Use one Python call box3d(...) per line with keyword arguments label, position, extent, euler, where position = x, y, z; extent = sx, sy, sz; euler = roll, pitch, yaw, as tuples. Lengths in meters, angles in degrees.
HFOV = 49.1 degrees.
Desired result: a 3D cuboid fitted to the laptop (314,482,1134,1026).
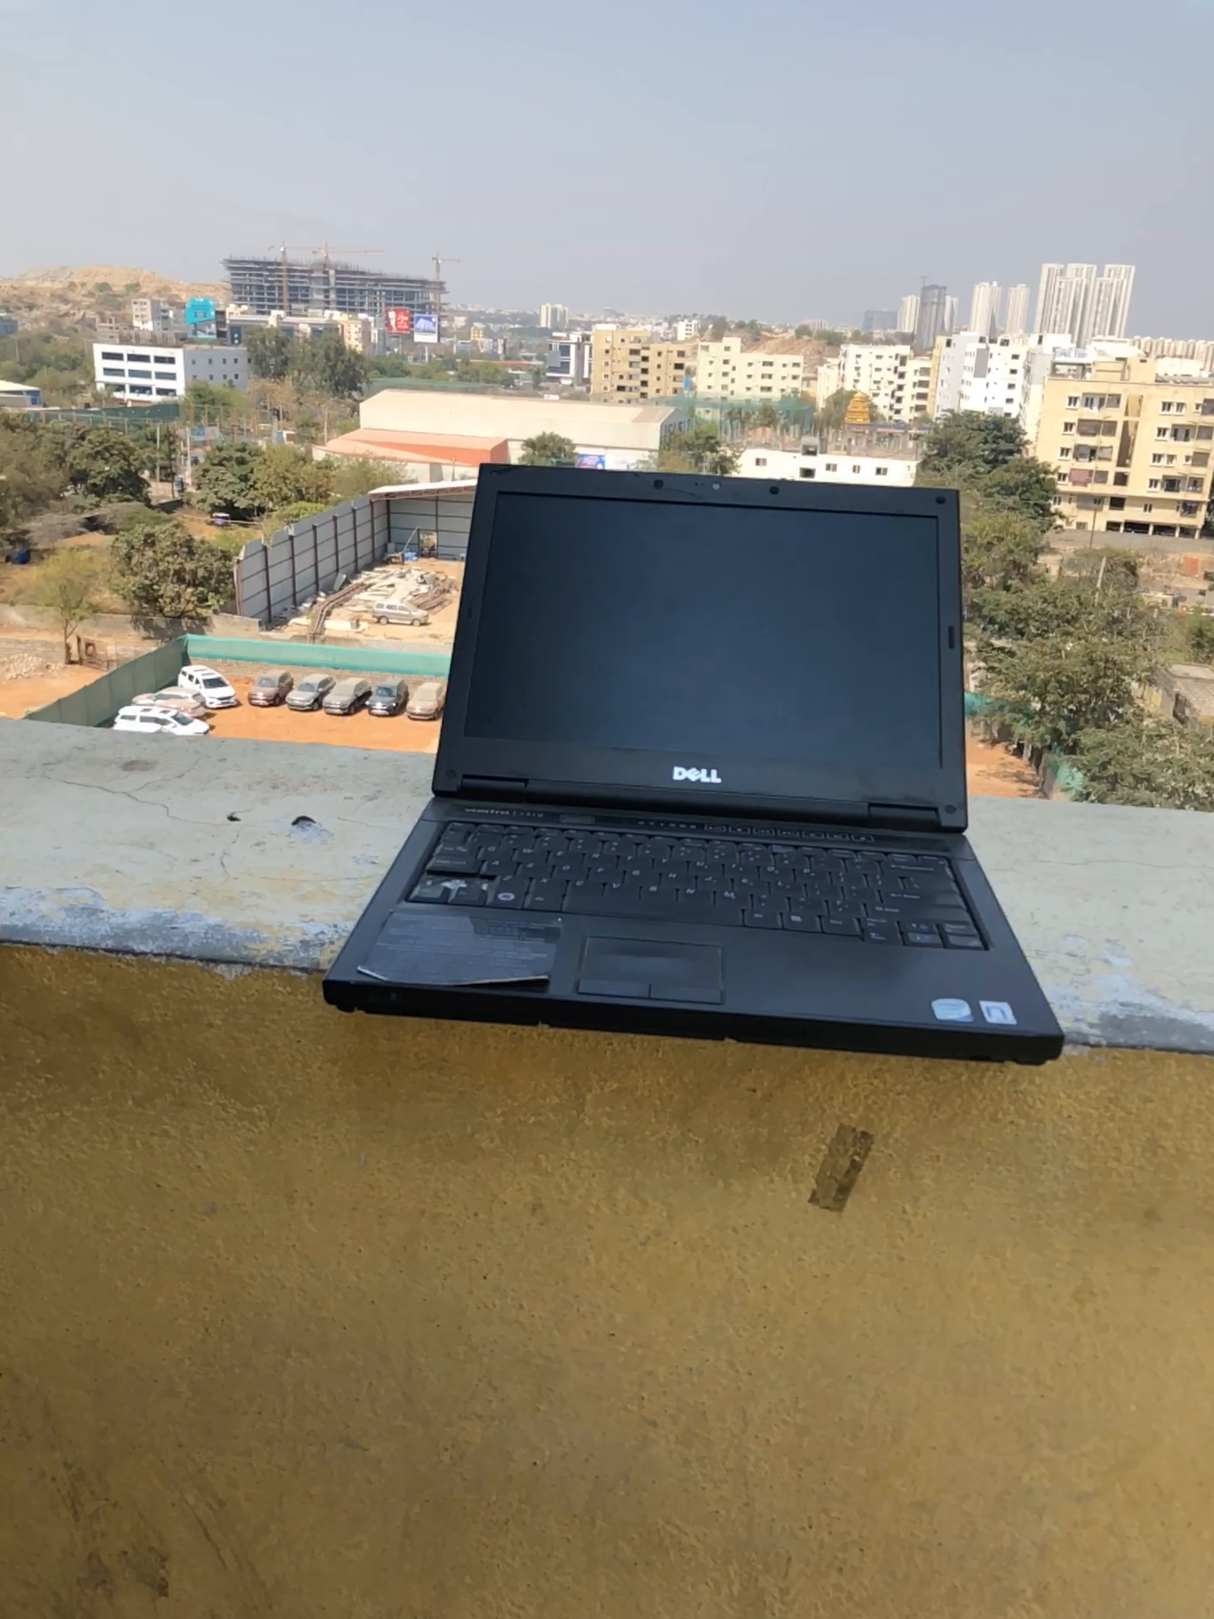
box3d(label="laptop", position=(0.055, -0.062, 0.696), extent=(0.301, 0.178, 0.377), euler=(3, 19, 4))
